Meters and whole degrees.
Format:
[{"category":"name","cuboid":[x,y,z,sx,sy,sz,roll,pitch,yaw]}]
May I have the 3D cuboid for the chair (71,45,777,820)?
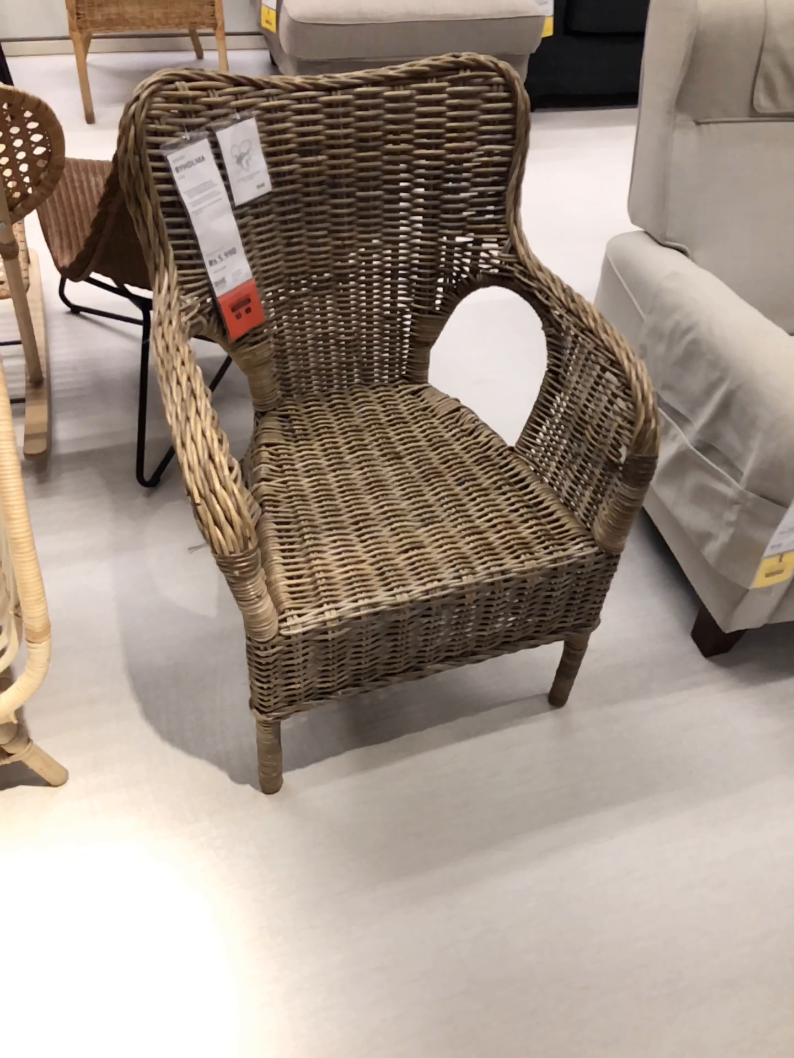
[{"category":"chair","cuboid":[-0.049,-0.140,1.396,0.671,0.924,0.684,-12,50,-16]}]
